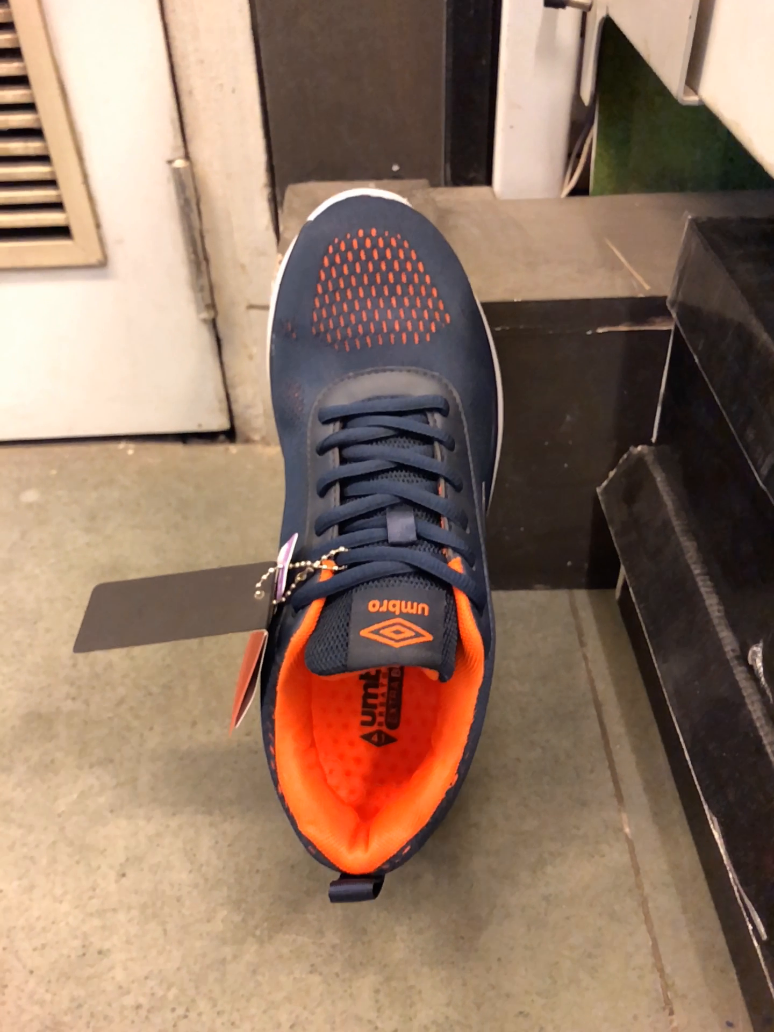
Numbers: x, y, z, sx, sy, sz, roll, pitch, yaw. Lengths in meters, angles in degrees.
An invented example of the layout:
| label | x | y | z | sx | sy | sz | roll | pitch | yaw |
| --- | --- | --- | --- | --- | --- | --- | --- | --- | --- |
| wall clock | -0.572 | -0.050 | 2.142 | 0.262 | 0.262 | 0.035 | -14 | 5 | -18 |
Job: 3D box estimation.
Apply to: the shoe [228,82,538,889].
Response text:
| label | x | y | z | sx | sy | sz | roll | pitch | yaw |
| --- | --- | --- | --- | --- | --- | --- | --- | --- | --- |
| shoe | -0.008 | -0.011 | 0.345 | 0.092 | 0.259 | 0.133 | 1 | 8 | -4 |
